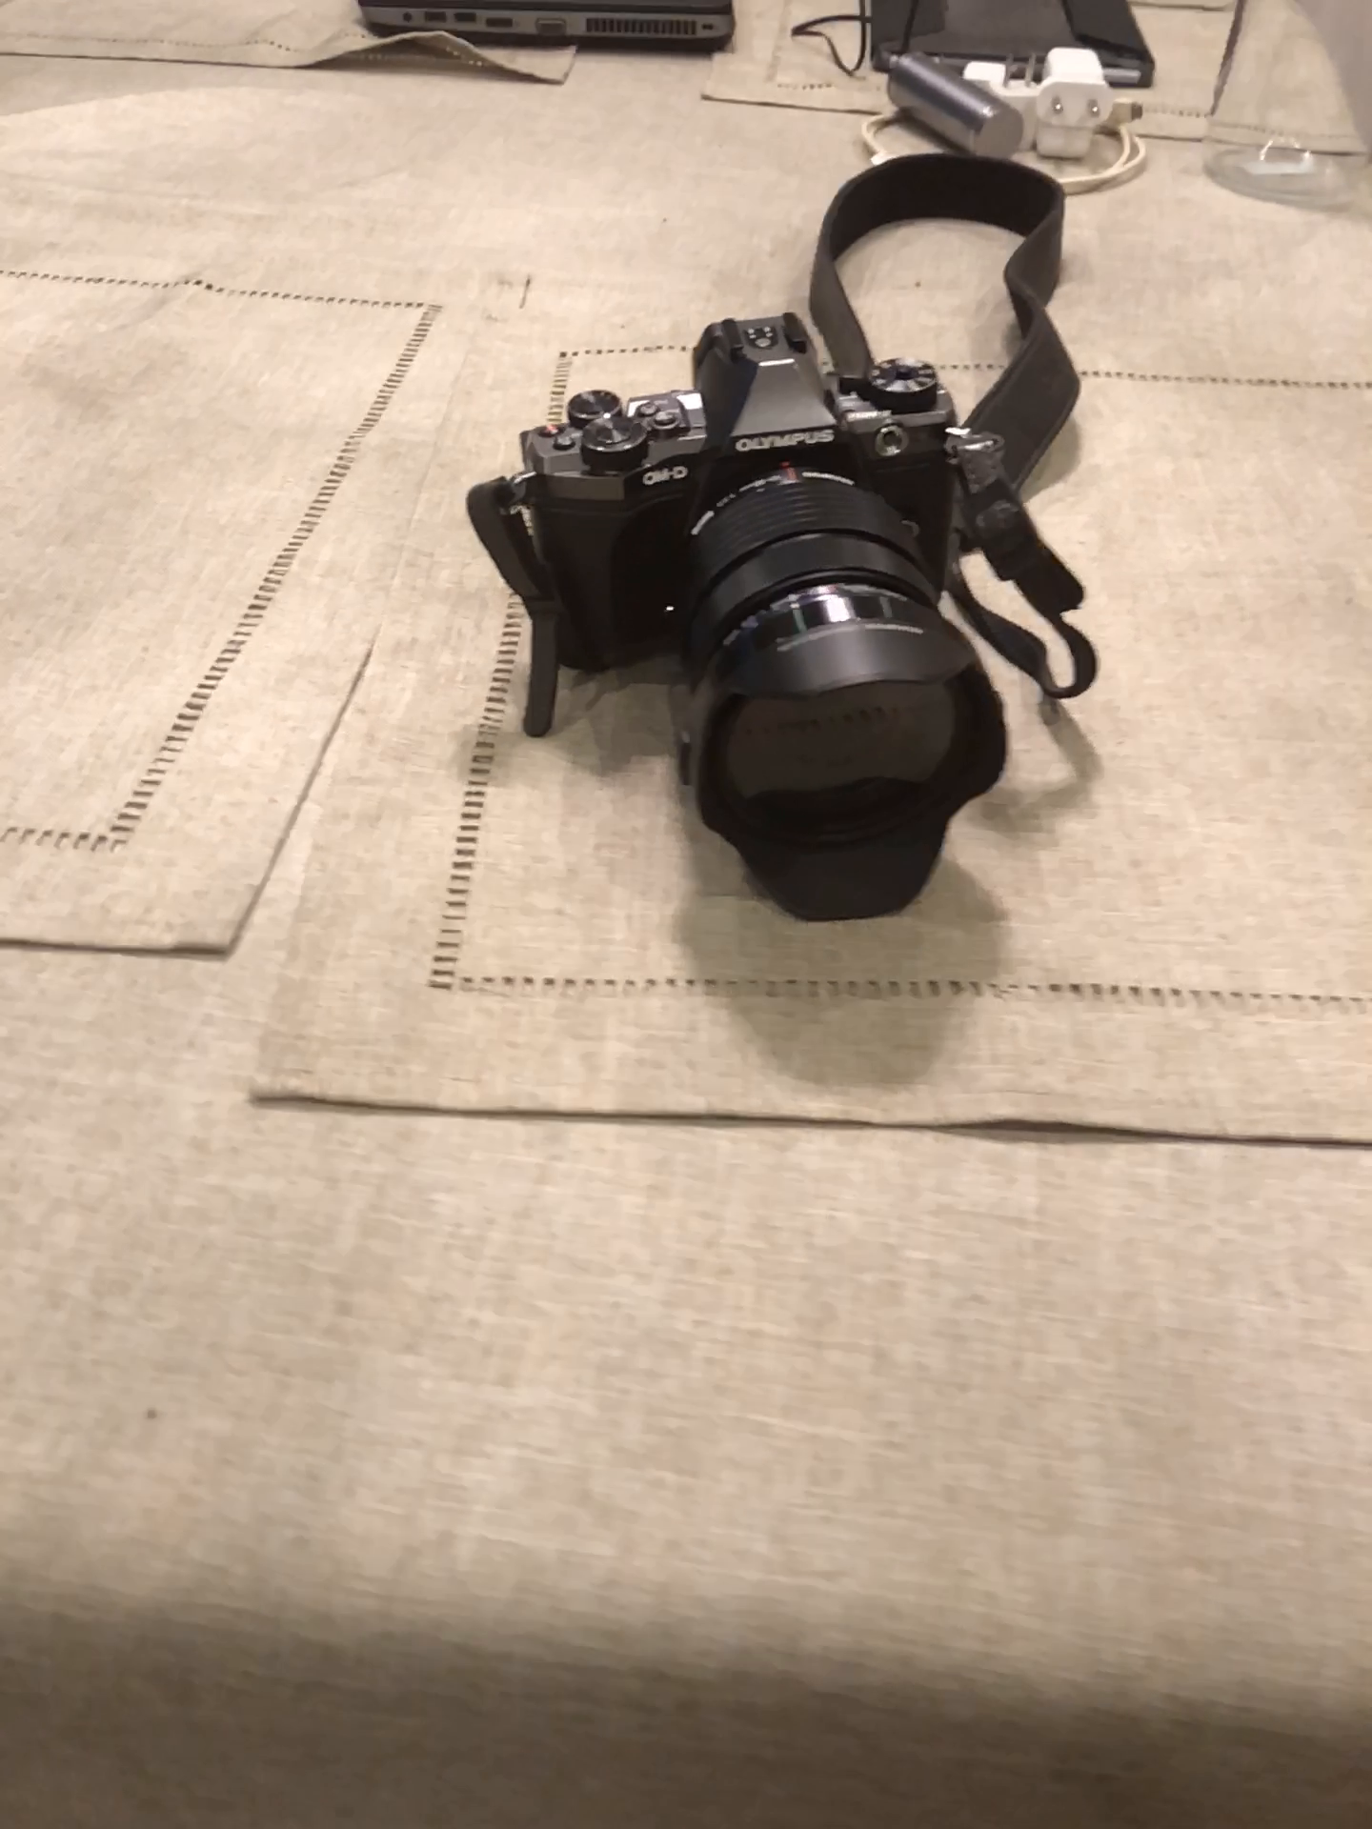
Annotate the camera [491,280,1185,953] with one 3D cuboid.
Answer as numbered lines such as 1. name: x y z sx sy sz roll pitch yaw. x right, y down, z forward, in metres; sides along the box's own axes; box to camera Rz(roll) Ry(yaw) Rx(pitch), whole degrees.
1. camera: 0.025 -0.087 0.396 0.124 0.092 0.165 -8 42 -11
